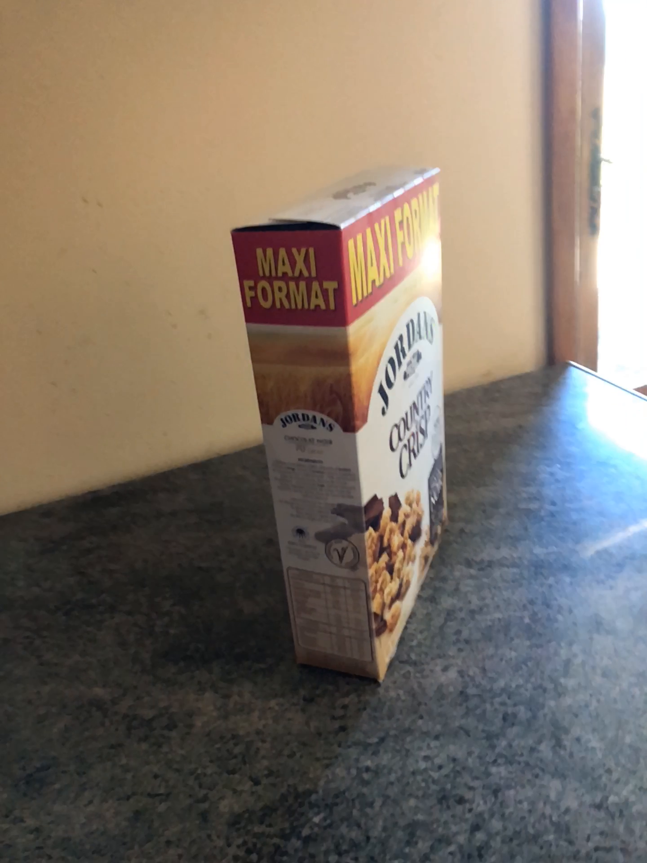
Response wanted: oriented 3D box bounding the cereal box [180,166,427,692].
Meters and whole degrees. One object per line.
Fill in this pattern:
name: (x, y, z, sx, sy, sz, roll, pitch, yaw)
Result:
cereal box: (0.010, -0.011, 0.494, 0.070, 0.298, 0.201, 5, 28, 21)
